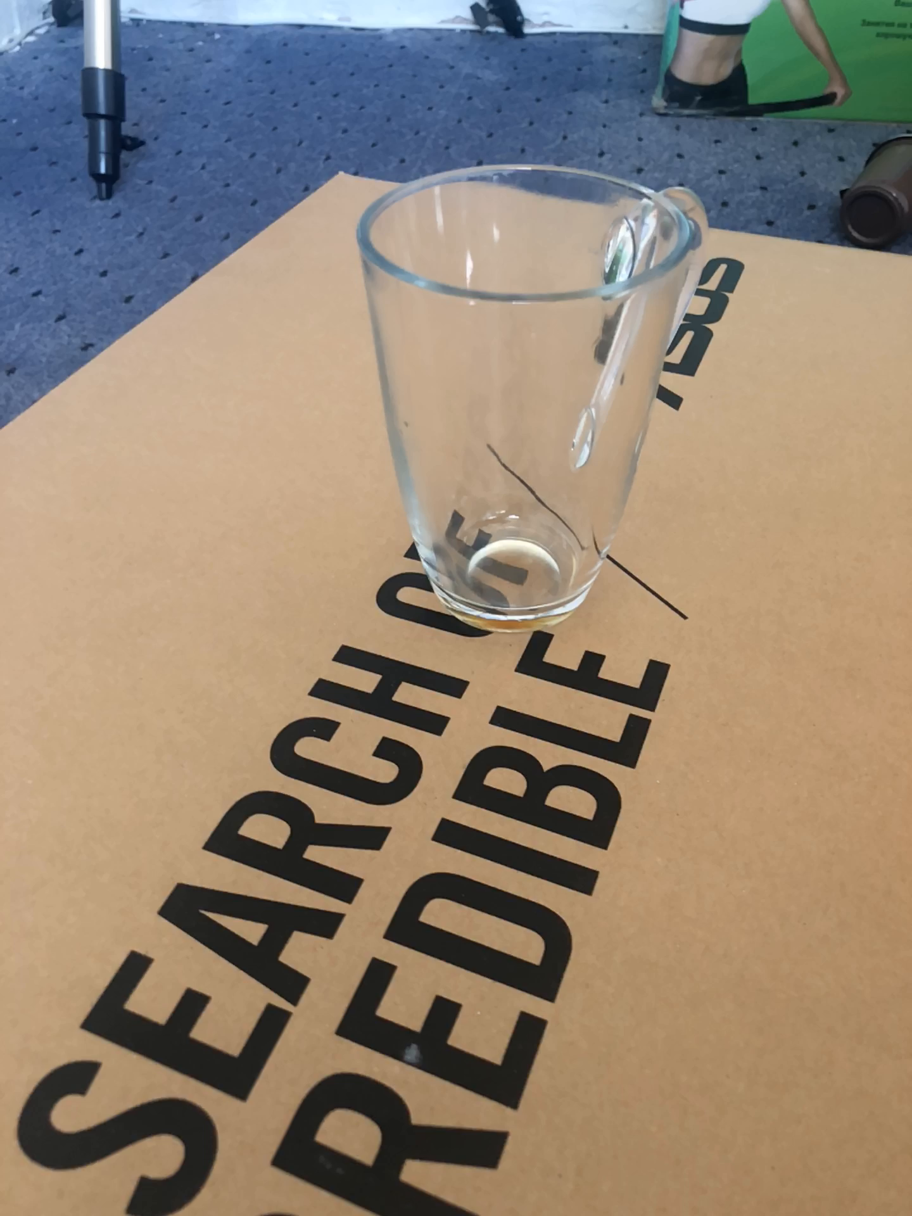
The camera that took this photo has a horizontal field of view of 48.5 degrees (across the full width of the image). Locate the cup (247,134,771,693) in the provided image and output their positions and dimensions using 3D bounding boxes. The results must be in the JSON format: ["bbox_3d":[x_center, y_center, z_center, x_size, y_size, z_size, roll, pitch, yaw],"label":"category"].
[{"bbox_3d":[0.018,-0.058,0.268,0.080,0.090,0.110,21,46,24],"label":"cup"}]
